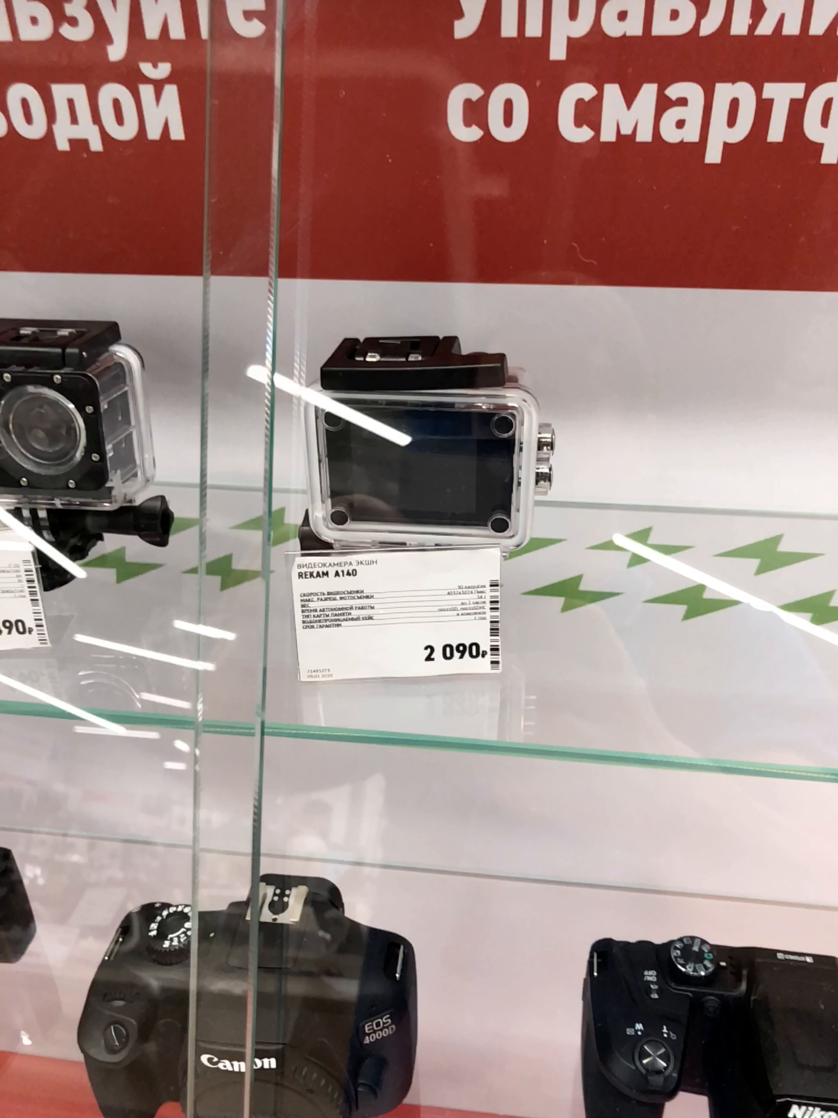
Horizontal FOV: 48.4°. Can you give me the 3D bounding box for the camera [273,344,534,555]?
[{"bbox_3d":[-0.002,-0.036,0.298,0.075,0.053,0.040,2,30,6],"label":"camera"}]
